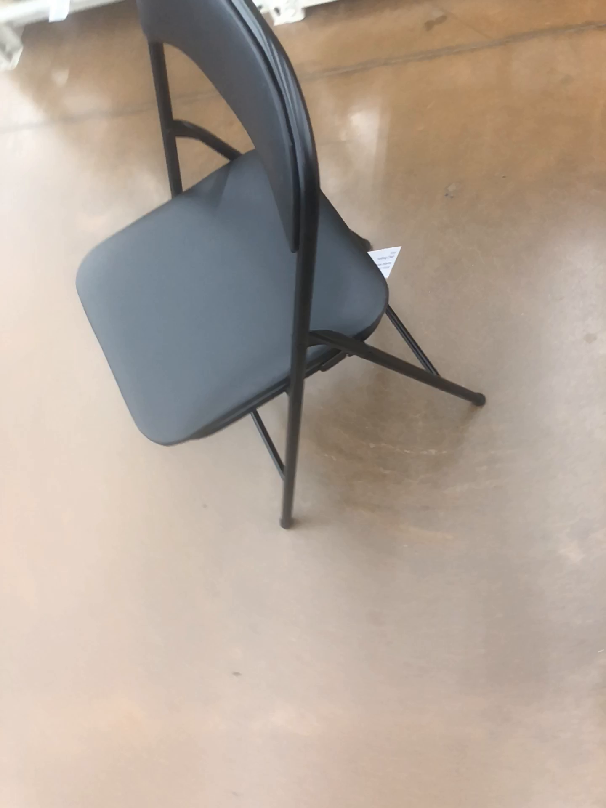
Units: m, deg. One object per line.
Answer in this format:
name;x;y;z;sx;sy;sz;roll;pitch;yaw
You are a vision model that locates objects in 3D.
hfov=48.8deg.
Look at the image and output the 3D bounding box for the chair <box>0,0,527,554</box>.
chair;-0.079;-0.202;0.925;0.490;0.759;0.521;-35;62;6
